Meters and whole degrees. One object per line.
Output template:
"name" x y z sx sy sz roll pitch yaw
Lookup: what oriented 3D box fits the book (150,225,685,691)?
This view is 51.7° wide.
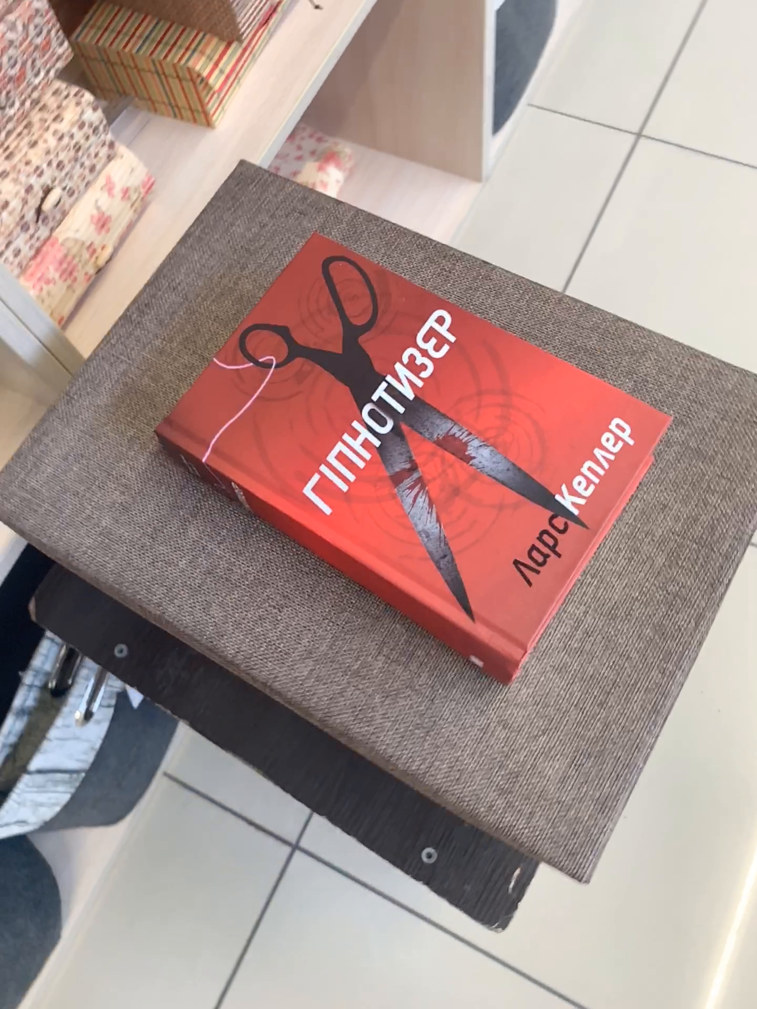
"book" 0.016 -0.026 0.370 0.195 0.060 0.131 31 78 16
